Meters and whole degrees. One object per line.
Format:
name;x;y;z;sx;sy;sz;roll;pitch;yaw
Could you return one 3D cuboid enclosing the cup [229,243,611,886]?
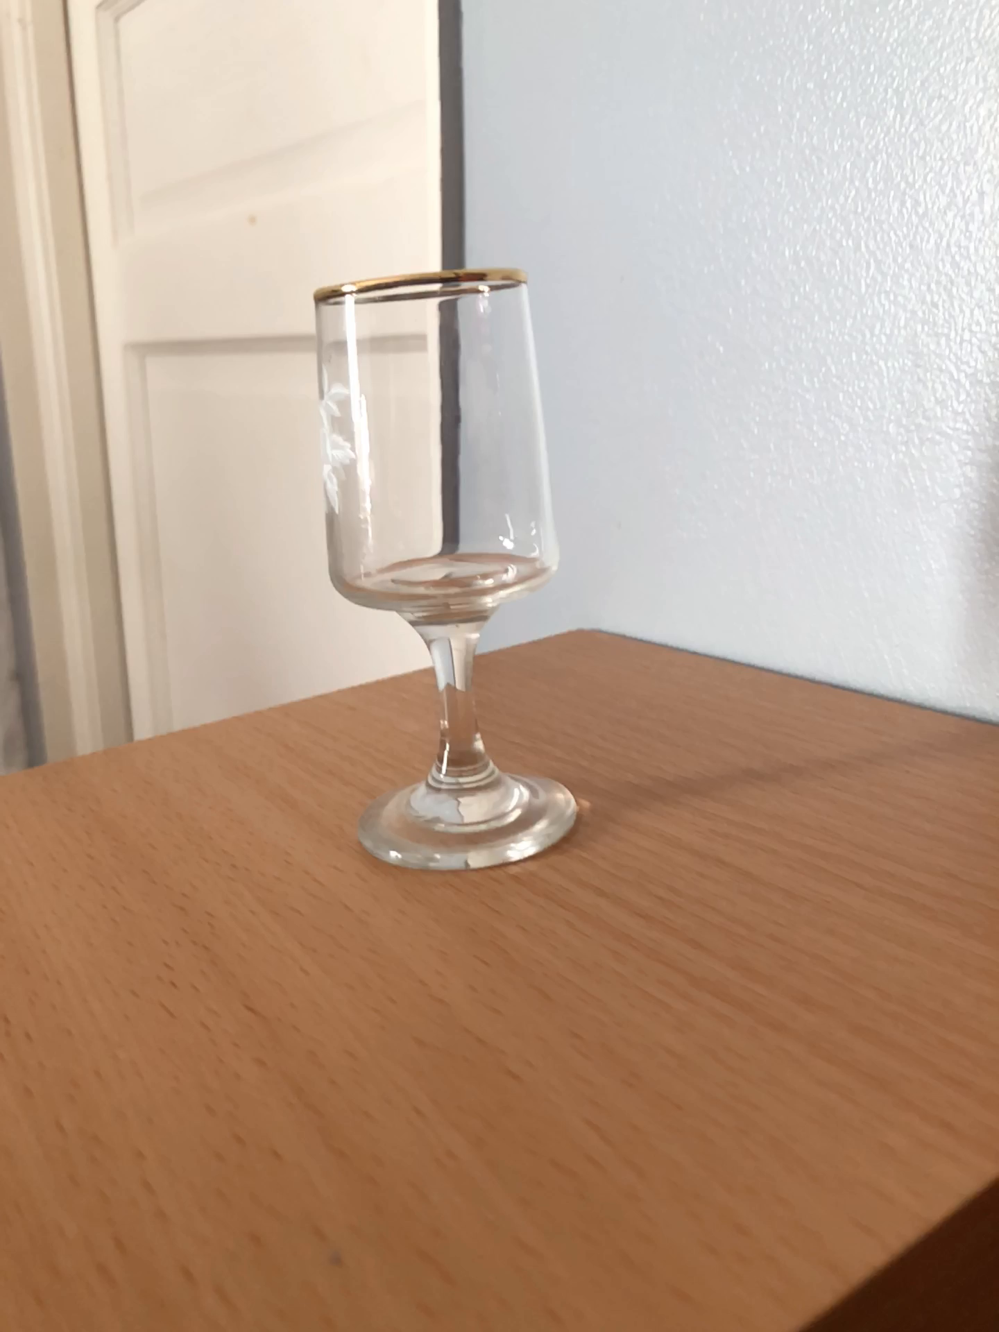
cup;-0.014;-0.021;0.218;0.056;0.108;0.052;-4;14;1
